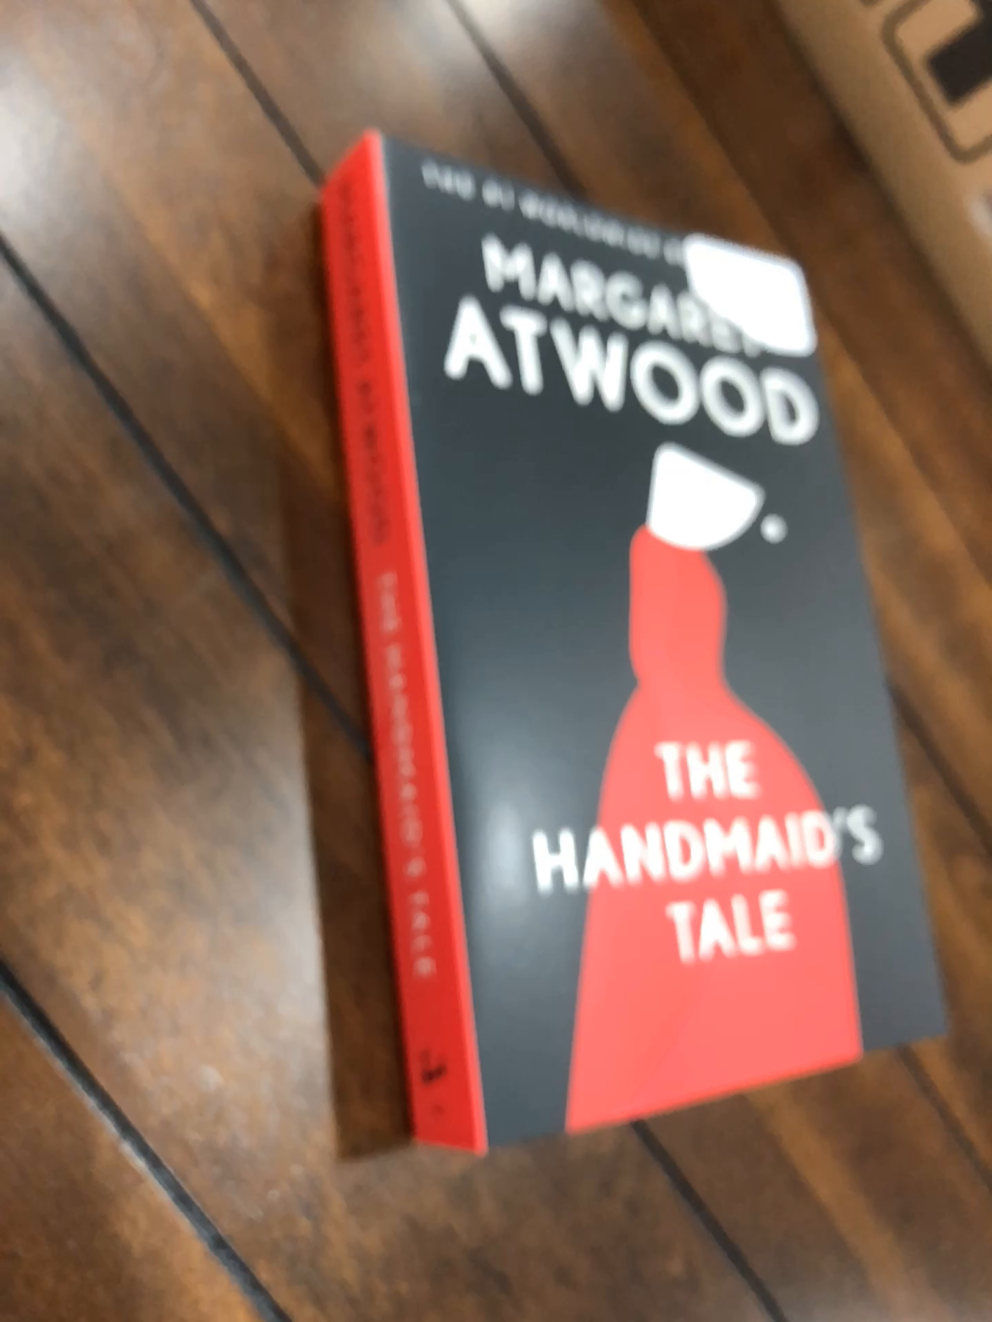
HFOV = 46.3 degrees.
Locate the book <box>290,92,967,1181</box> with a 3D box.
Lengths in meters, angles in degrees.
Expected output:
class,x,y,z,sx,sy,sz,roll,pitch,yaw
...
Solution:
class,x,y,z,sx,sy,sz,roll,pitch,yaw
book,0.031,-0.009,0.263,0.138,0.030,0.207,2,74,-35
